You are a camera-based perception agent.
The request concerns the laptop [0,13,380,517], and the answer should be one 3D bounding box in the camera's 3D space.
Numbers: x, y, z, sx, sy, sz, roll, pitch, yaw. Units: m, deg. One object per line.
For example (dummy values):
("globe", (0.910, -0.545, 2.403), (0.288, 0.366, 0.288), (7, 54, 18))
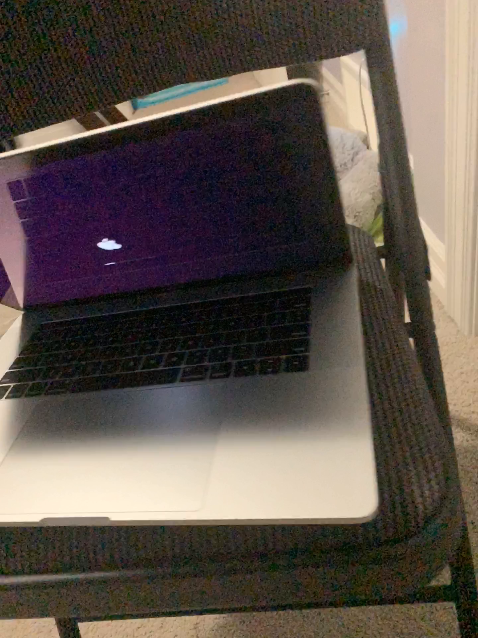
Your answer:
("laptop", (-0.098, -0.028, 0.321), (0.334, 0.188, 0.232), (-7, 37, 16))
